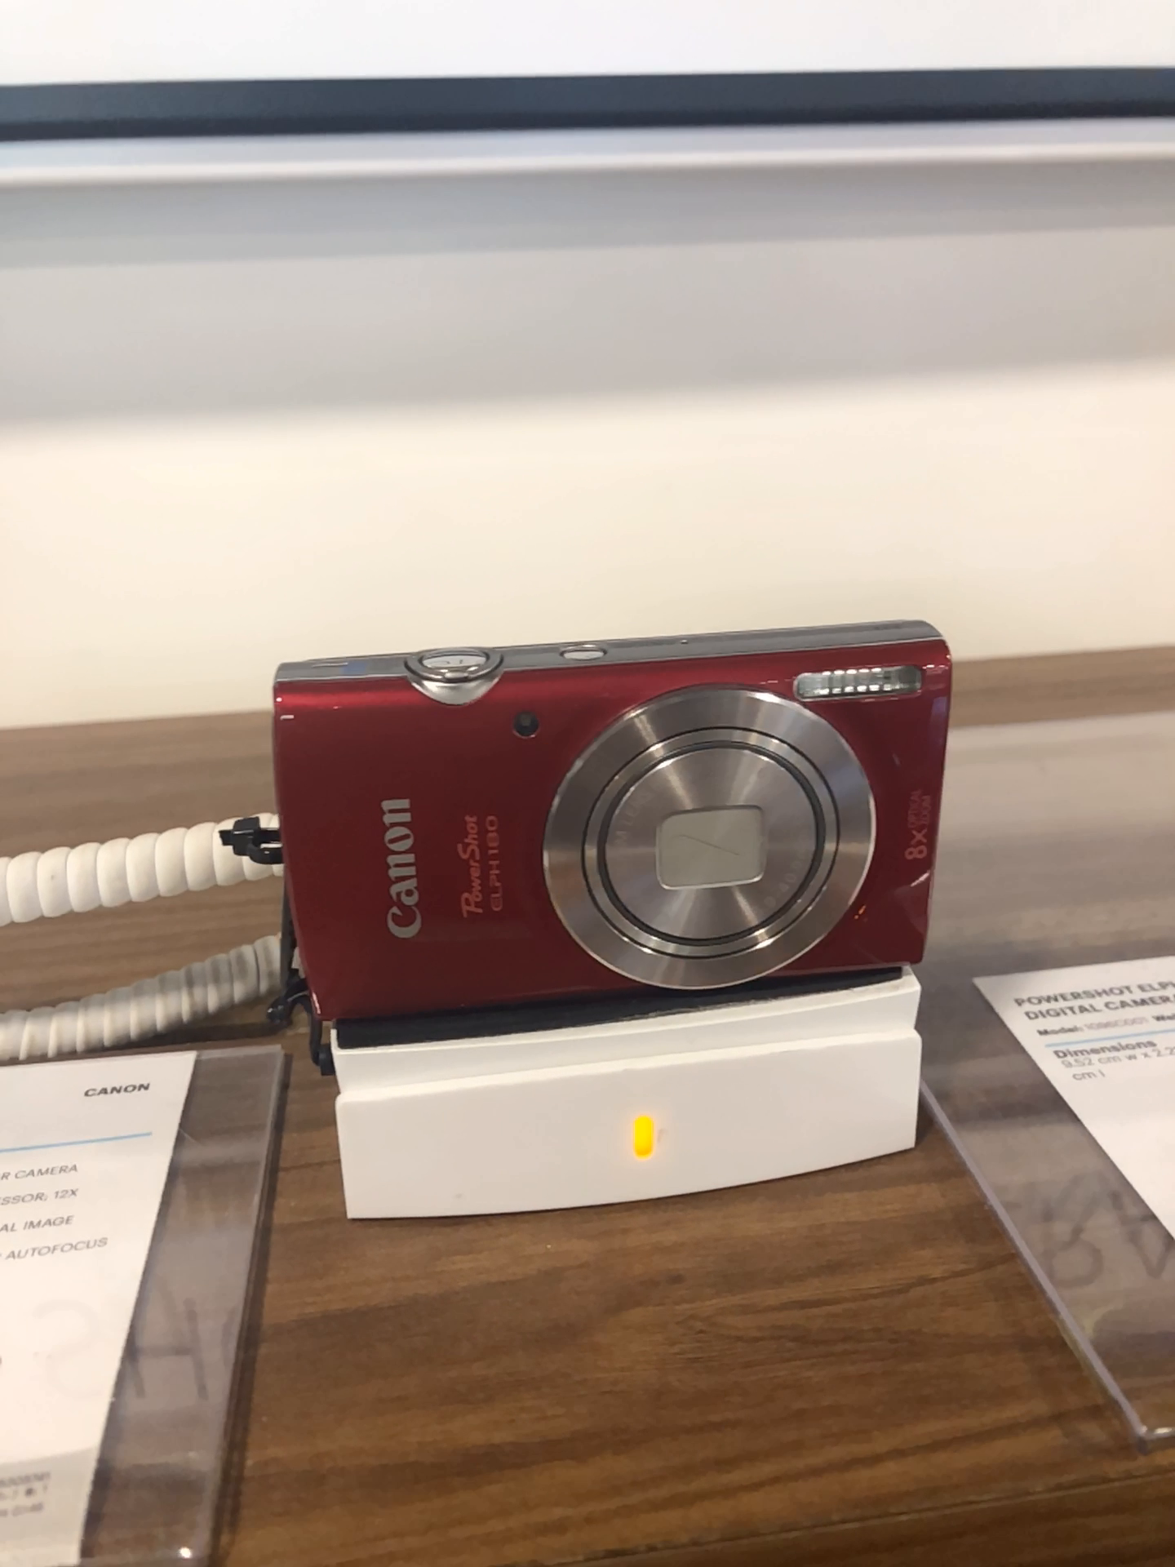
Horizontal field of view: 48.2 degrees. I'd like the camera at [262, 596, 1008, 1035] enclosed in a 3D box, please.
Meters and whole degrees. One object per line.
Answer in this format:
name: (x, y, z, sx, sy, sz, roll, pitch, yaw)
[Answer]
camera: (0.007, 0.004, 0.191, 0.097, 0.051, 0.023, -4, 28, -6)
